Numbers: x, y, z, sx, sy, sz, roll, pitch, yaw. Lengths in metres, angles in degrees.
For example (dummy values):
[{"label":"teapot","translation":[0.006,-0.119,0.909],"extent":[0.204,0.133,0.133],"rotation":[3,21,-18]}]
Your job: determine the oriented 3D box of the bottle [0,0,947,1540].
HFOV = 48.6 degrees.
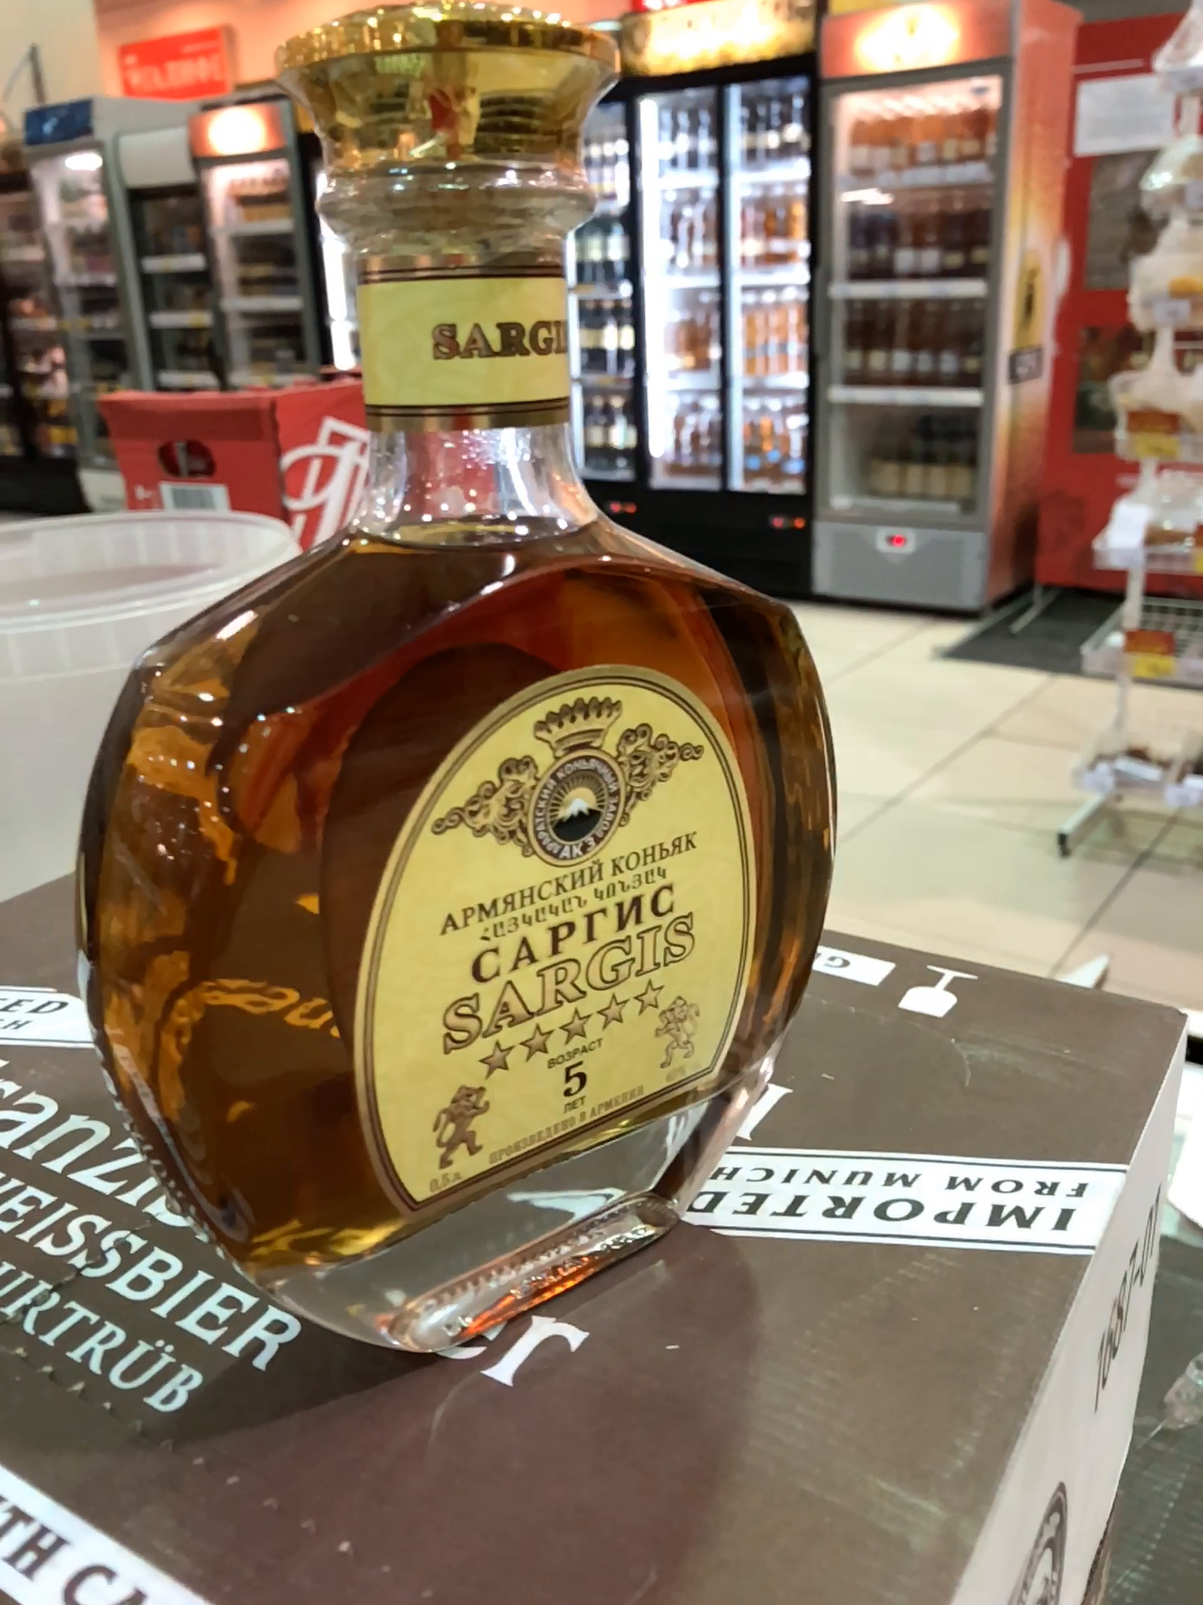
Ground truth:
[{"label":"bottle","translation":[-0.017,-0.012,0.234],"extent":[0.140,0.209,0.070],"rotation":[-18,26,-36]}]
